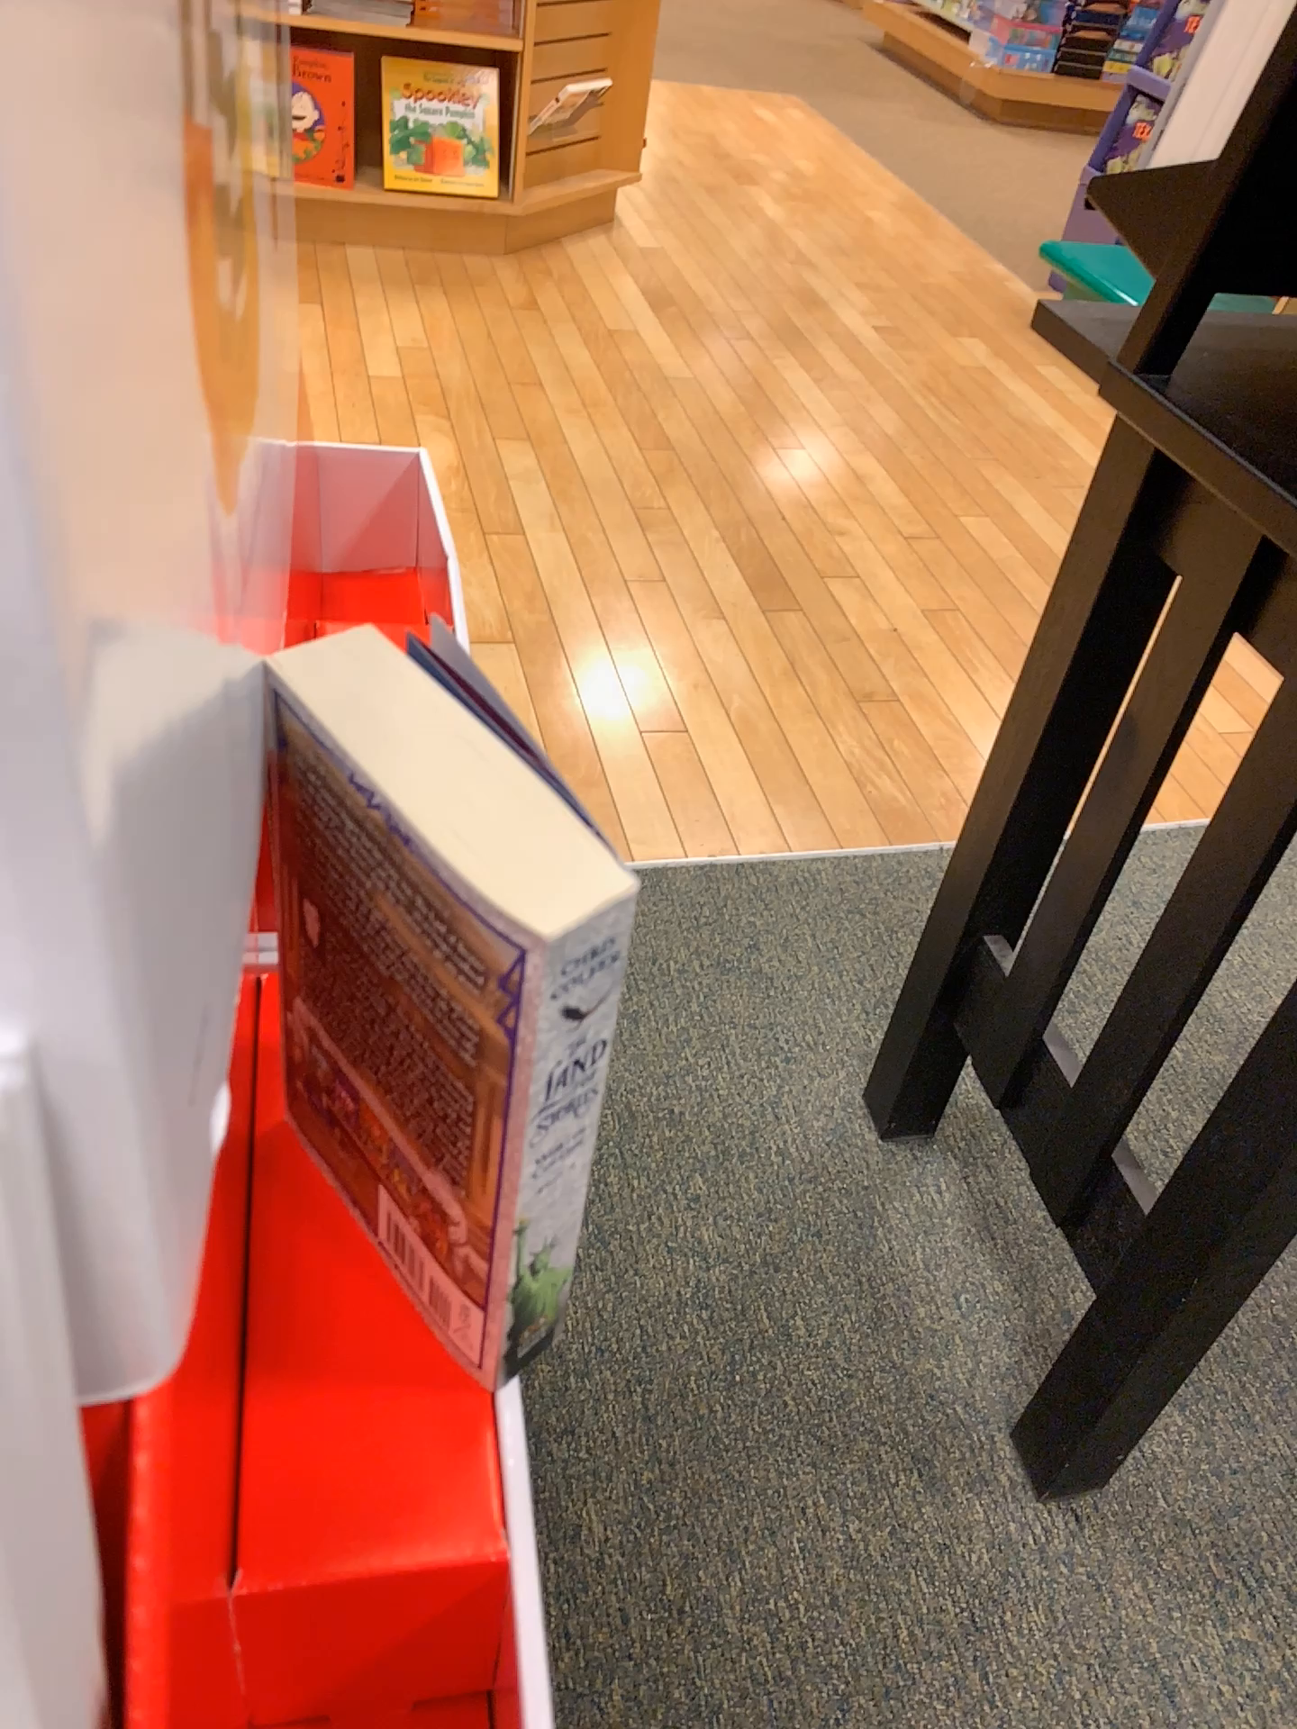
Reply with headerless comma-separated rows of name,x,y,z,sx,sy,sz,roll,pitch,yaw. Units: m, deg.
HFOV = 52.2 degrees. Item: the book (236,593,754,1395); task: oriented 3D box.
book,-0.054,0.042,0.393,0.065,0.193,0.130,-26,52,-34
